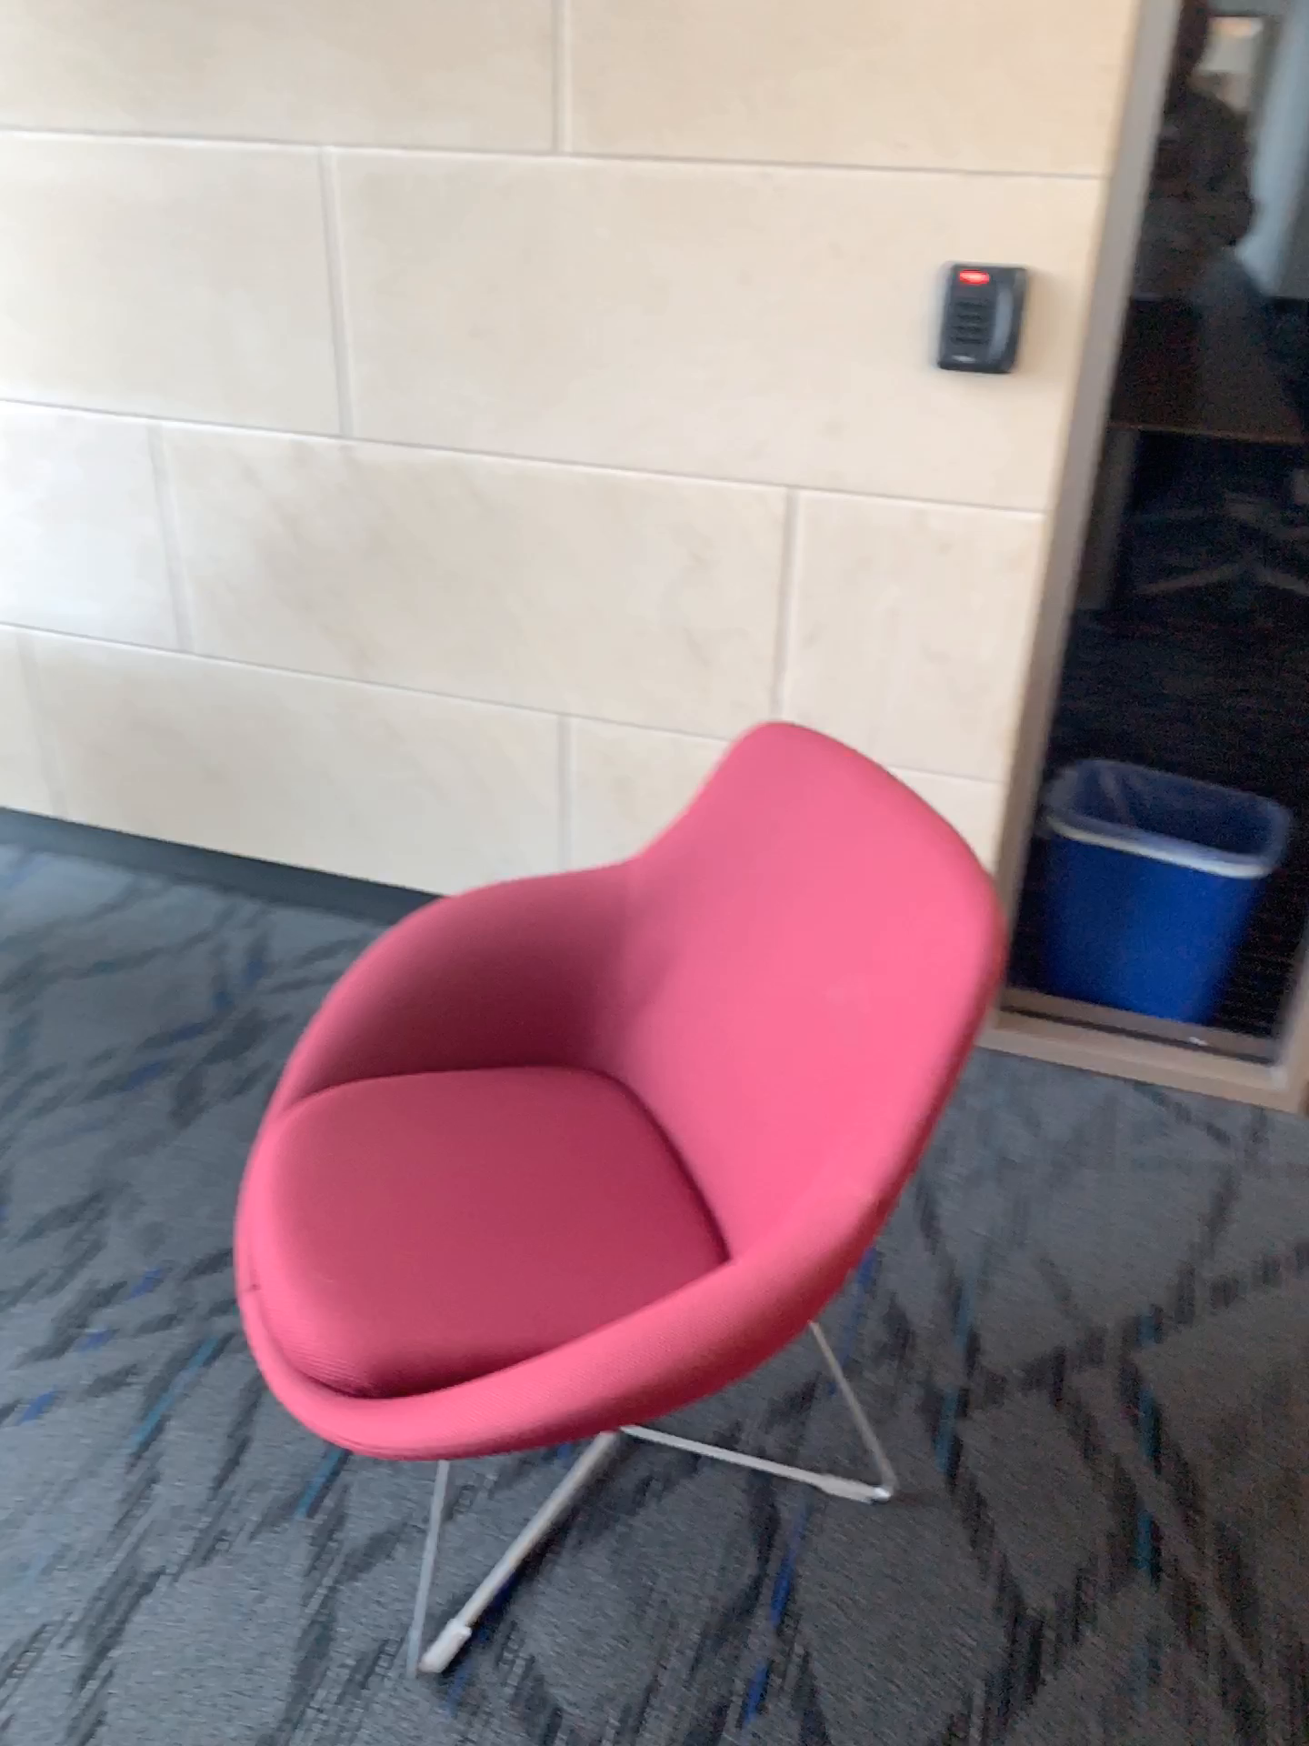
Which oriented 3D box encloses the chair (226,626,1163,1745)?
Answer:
[{"bbox_3d":[-0.044,0.253,1.347,0.610,0.754,0.695,-8,30,-17],"label":"chair"}]
